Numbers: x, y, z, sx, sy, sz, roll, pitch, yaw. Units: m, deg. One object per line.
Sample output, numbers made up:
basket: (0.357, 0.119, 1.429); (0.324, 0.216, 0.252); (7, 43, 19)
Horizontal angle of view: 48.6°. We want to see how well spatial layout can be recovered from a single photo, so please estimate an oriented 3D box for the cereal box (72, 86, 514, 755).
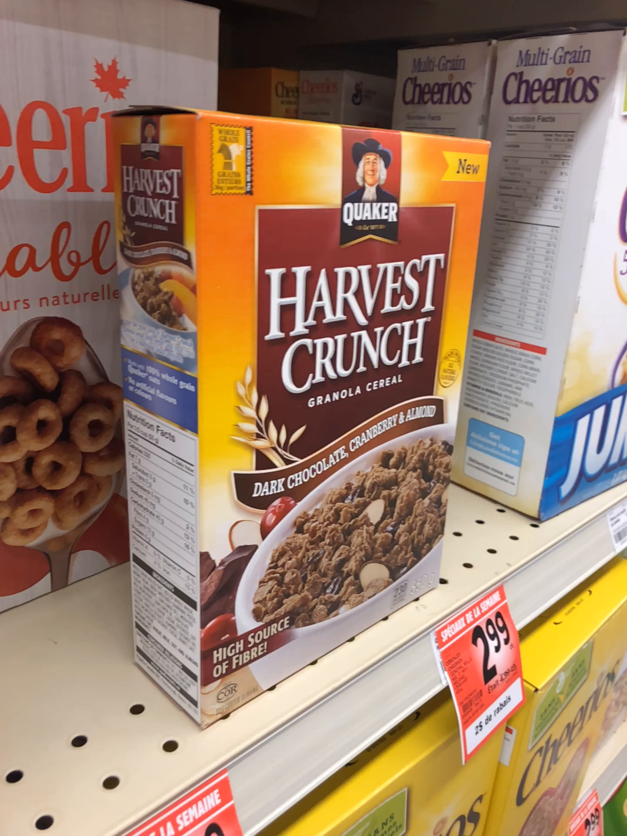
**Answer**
cereal box: (-0.003, -0.006, 0.306); (0.171, 0.238, 0.060); (-16, 28, -40)
